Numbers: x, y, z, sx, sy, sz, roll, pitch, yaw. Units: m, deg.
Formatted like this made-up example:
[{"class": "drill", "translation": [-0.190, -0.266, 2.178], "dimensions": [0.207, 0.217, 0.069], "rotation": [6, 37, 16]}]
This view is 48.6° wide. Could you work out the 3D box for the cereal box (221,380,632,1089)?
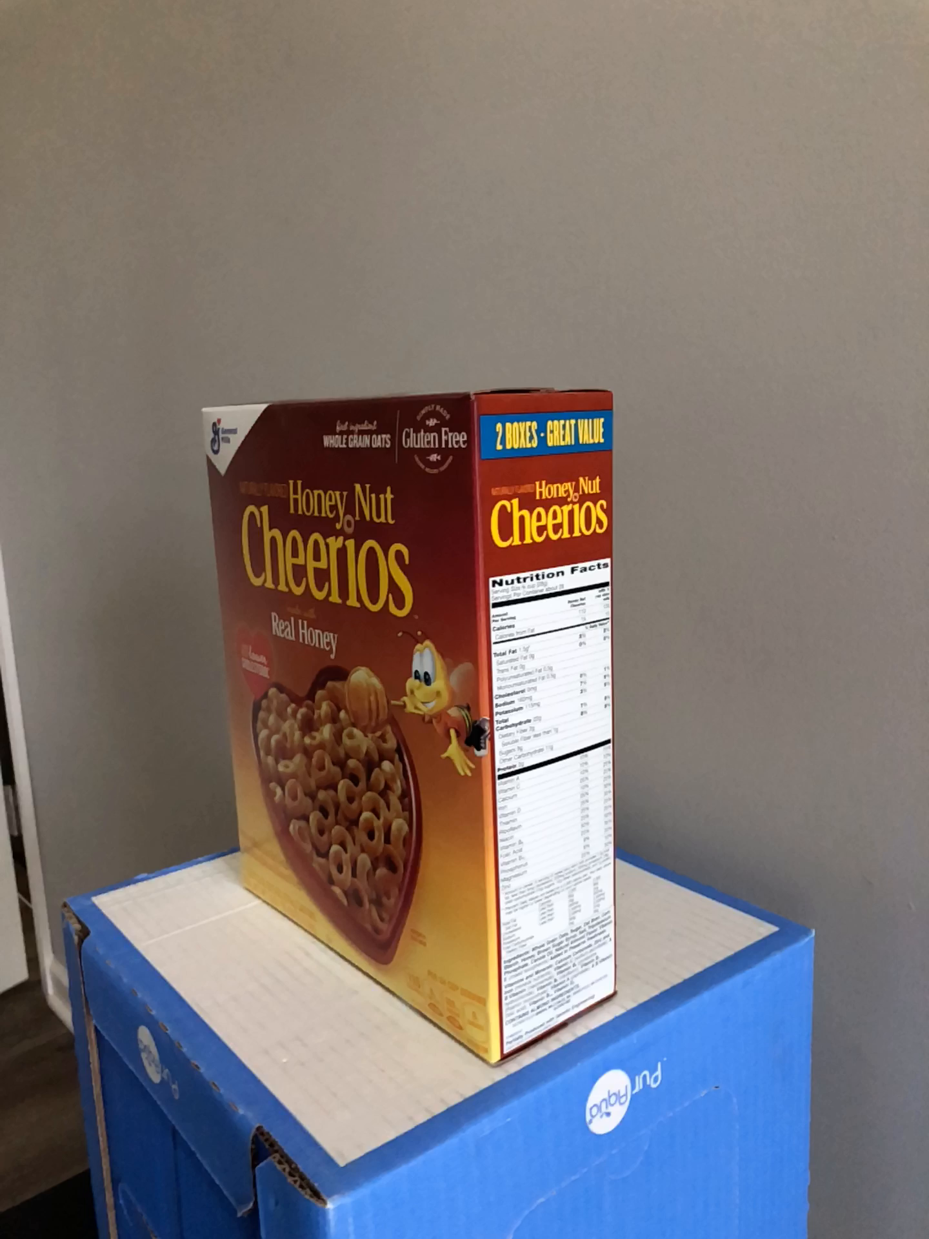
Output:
[{"class": "cereal box", "translation": [-0.029, 0.037, 0.551], "dimensions": [0.080, 0.309, 0.240], "rotation": [-10, 13, -37]}]
